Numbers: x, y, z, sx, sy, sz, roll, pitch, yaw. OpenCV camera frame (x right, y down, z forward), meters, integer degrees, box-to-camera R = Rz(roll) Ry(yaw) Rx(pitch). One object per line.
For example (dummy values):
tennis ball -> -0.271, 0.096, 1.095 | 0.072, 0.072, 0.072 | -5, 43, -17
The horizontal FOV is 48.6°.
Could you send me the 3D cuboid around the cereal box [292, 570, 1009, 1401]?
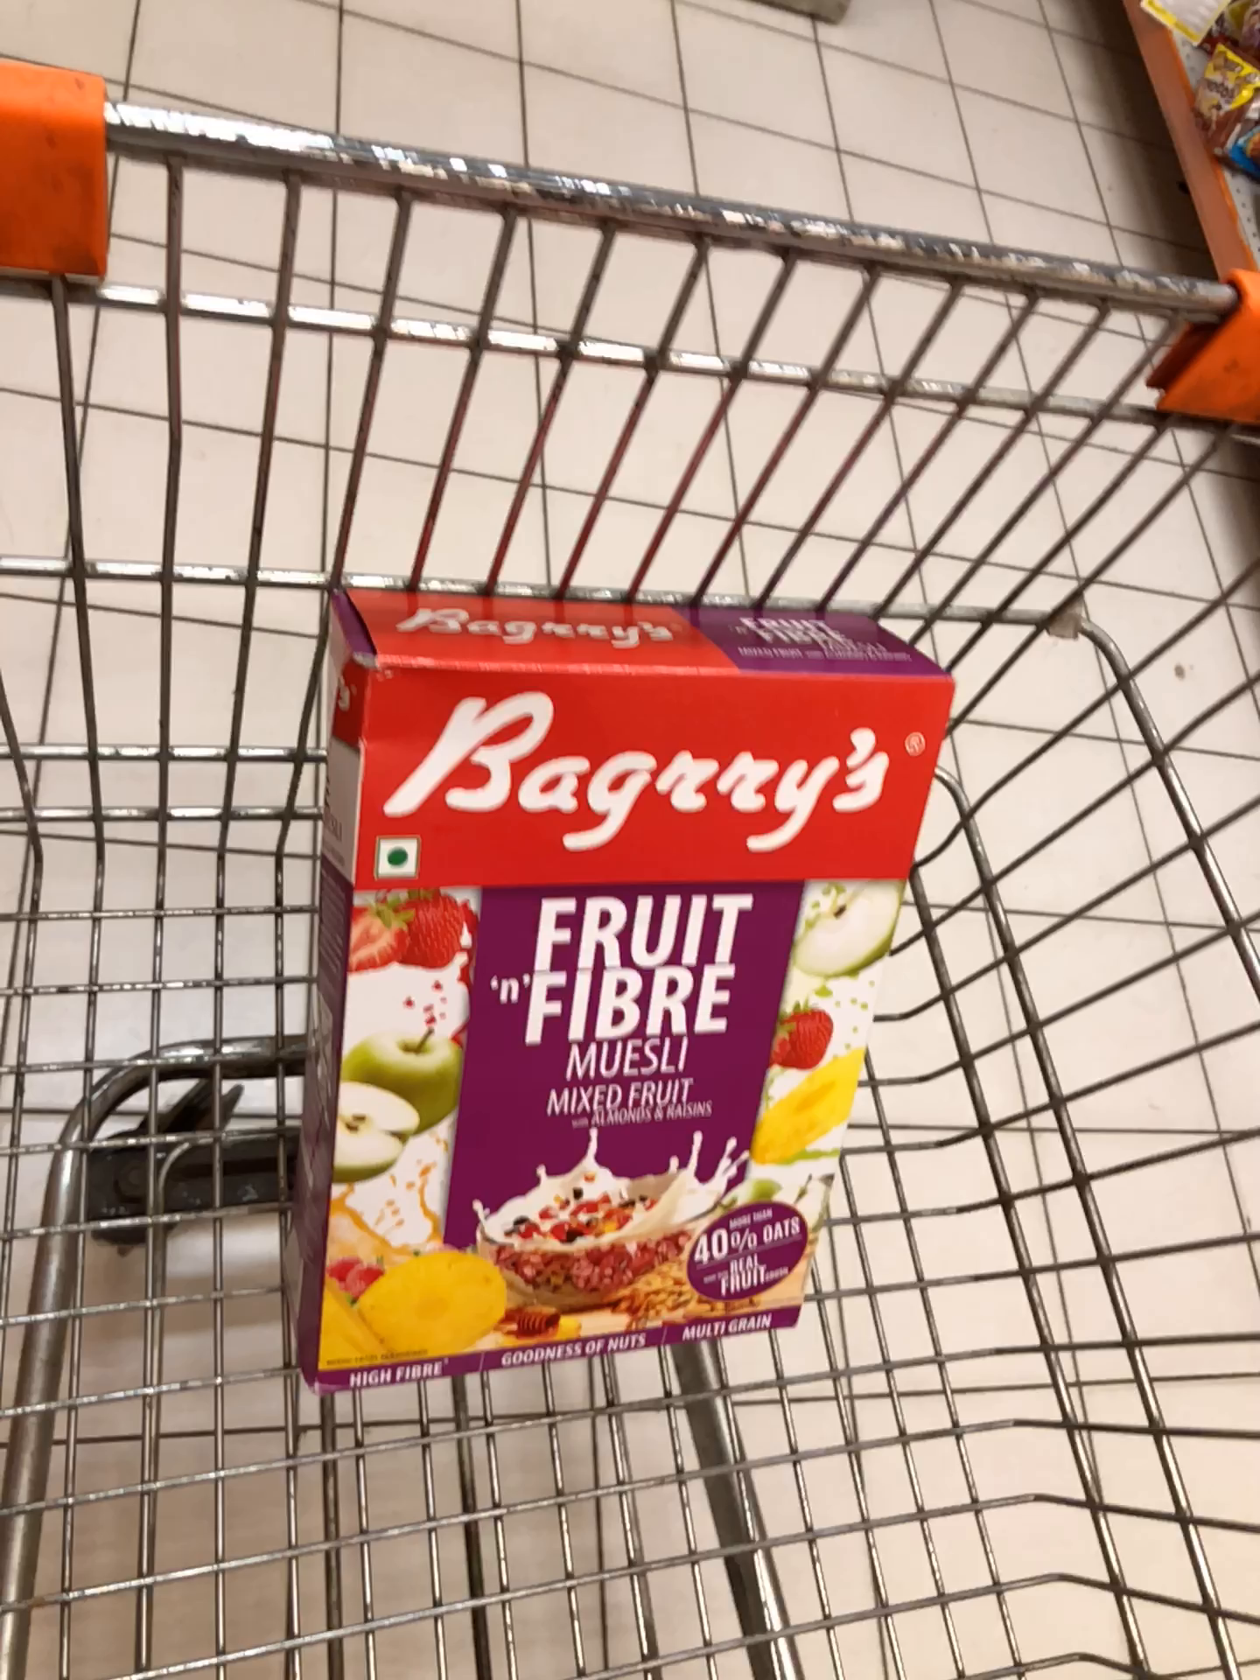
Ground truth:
cereal box -> -0.004, 0.049, 0.460 | 0.190, 0.249, 0.070 | 0, 23, -21
